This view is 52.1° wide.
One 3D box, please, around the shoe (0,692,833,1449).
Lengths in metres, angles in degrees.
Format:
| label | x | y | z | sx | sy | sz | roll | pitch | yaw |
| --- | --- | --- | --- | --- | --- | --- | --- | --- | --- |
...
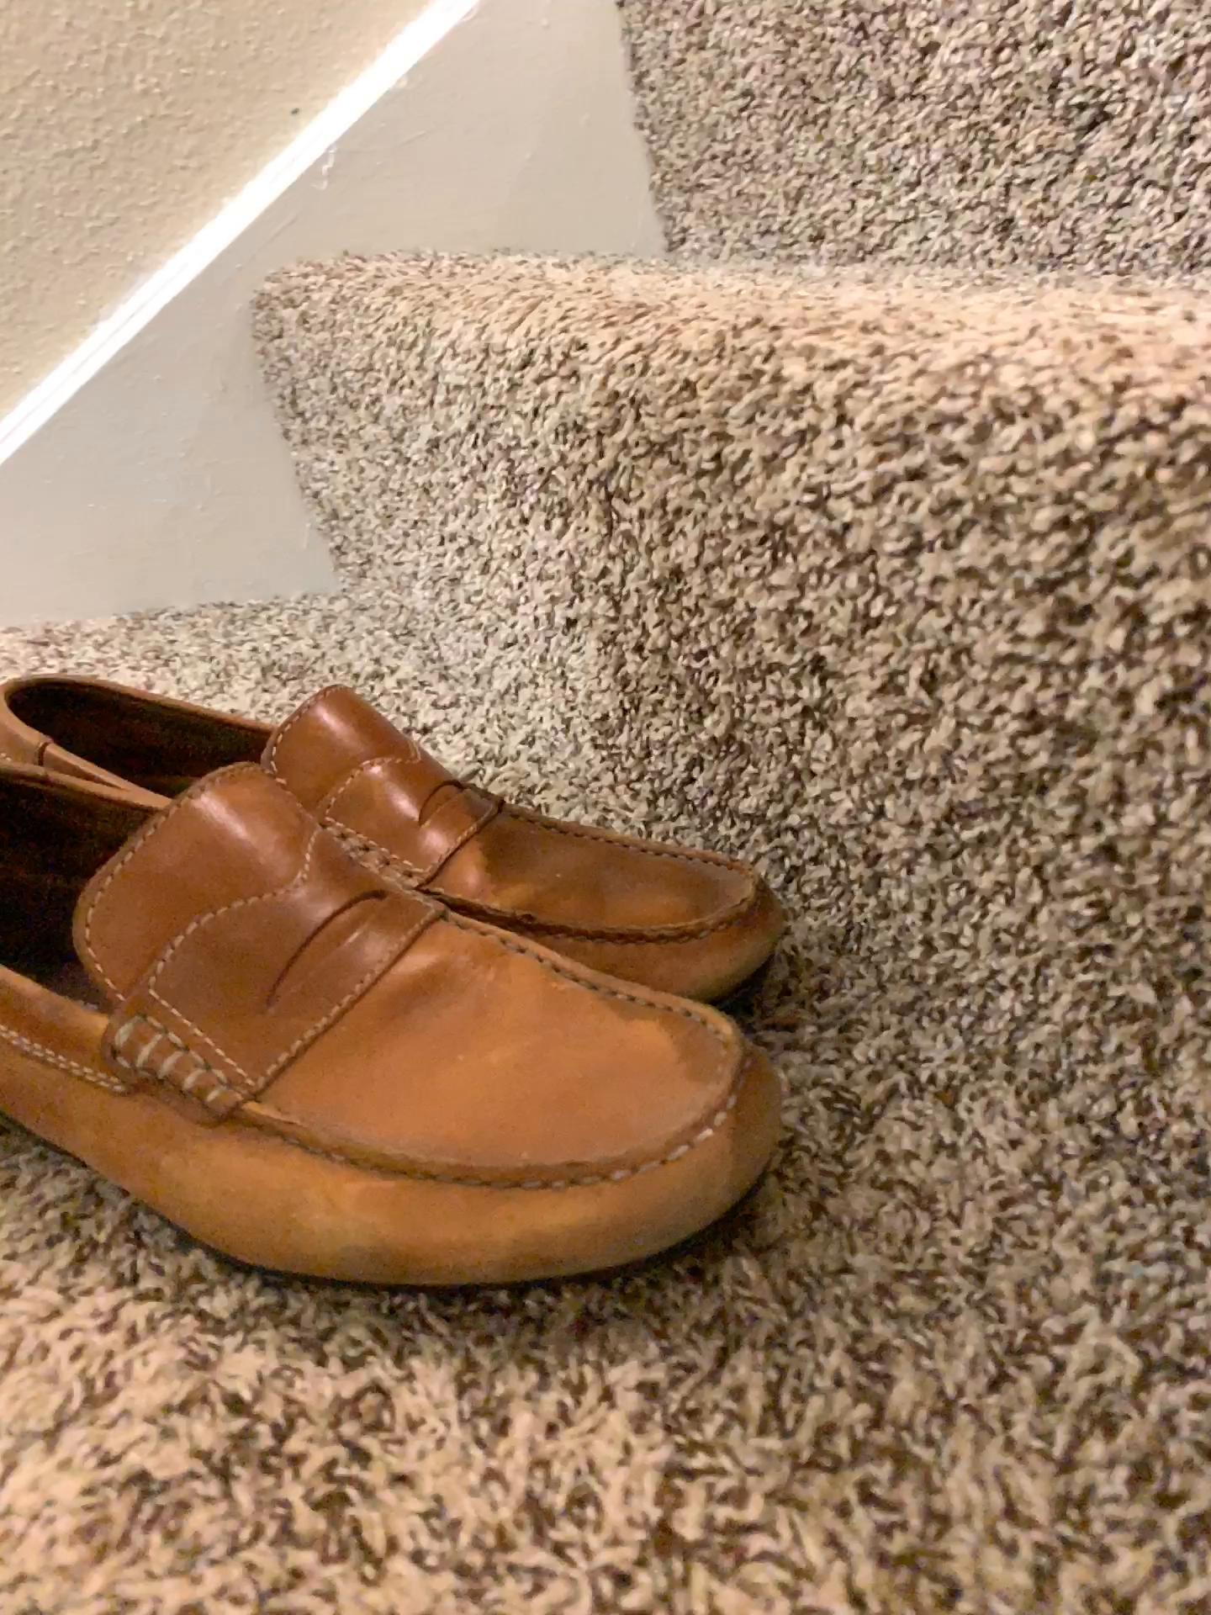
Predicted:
| label | x | y | z | sx | sy | sz | roll | pitch | yaw |
| --- | --- | --- | --- | --- | --- | --- | --- | --- | --- |
| shoe | -0.096 | 0.042 | 0.326 | 0.280 | 0.070 | 0.120 | 12 | 27 | 23 |

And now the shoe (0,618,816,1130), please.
| label | x | y | z | sx | sy | sz | roll | pitch | yaw |
| --- | --- | --- | --- | --- | --- | --- | --- | --- | --- |
| shoe | -0.087 | 0.004 | 0.382 | 0.280 | 0.070 | 0.090 | 12 | 27 | 23 |
